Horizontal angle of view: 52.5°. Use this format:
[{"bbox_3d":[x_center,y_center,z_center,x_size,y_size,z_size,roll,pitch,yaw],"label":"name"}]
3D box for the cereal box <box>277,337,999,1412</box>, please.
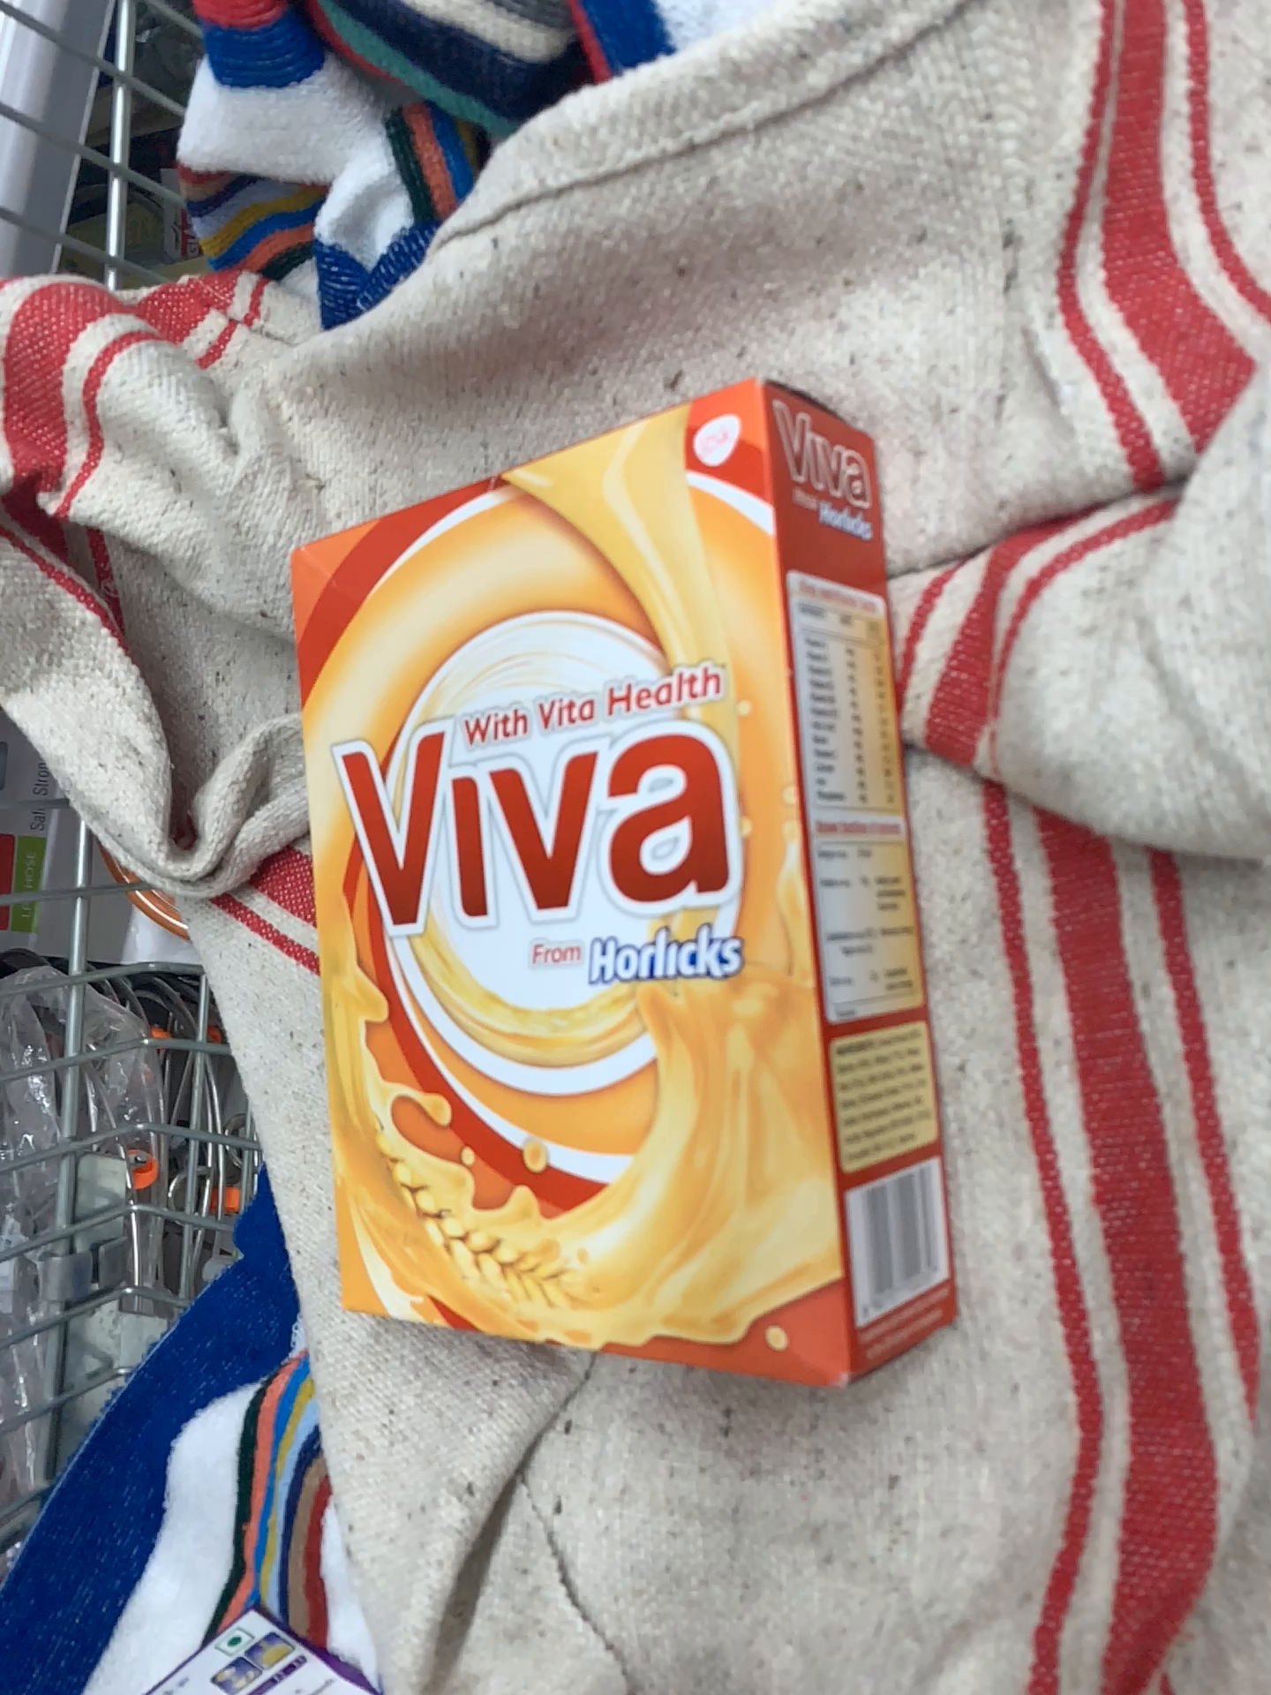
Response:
[{"bbox_3d":[-0.004,0.010,0.307,0.141,0.070,0.200,-7,85,33],"label":"cereal box"}]
